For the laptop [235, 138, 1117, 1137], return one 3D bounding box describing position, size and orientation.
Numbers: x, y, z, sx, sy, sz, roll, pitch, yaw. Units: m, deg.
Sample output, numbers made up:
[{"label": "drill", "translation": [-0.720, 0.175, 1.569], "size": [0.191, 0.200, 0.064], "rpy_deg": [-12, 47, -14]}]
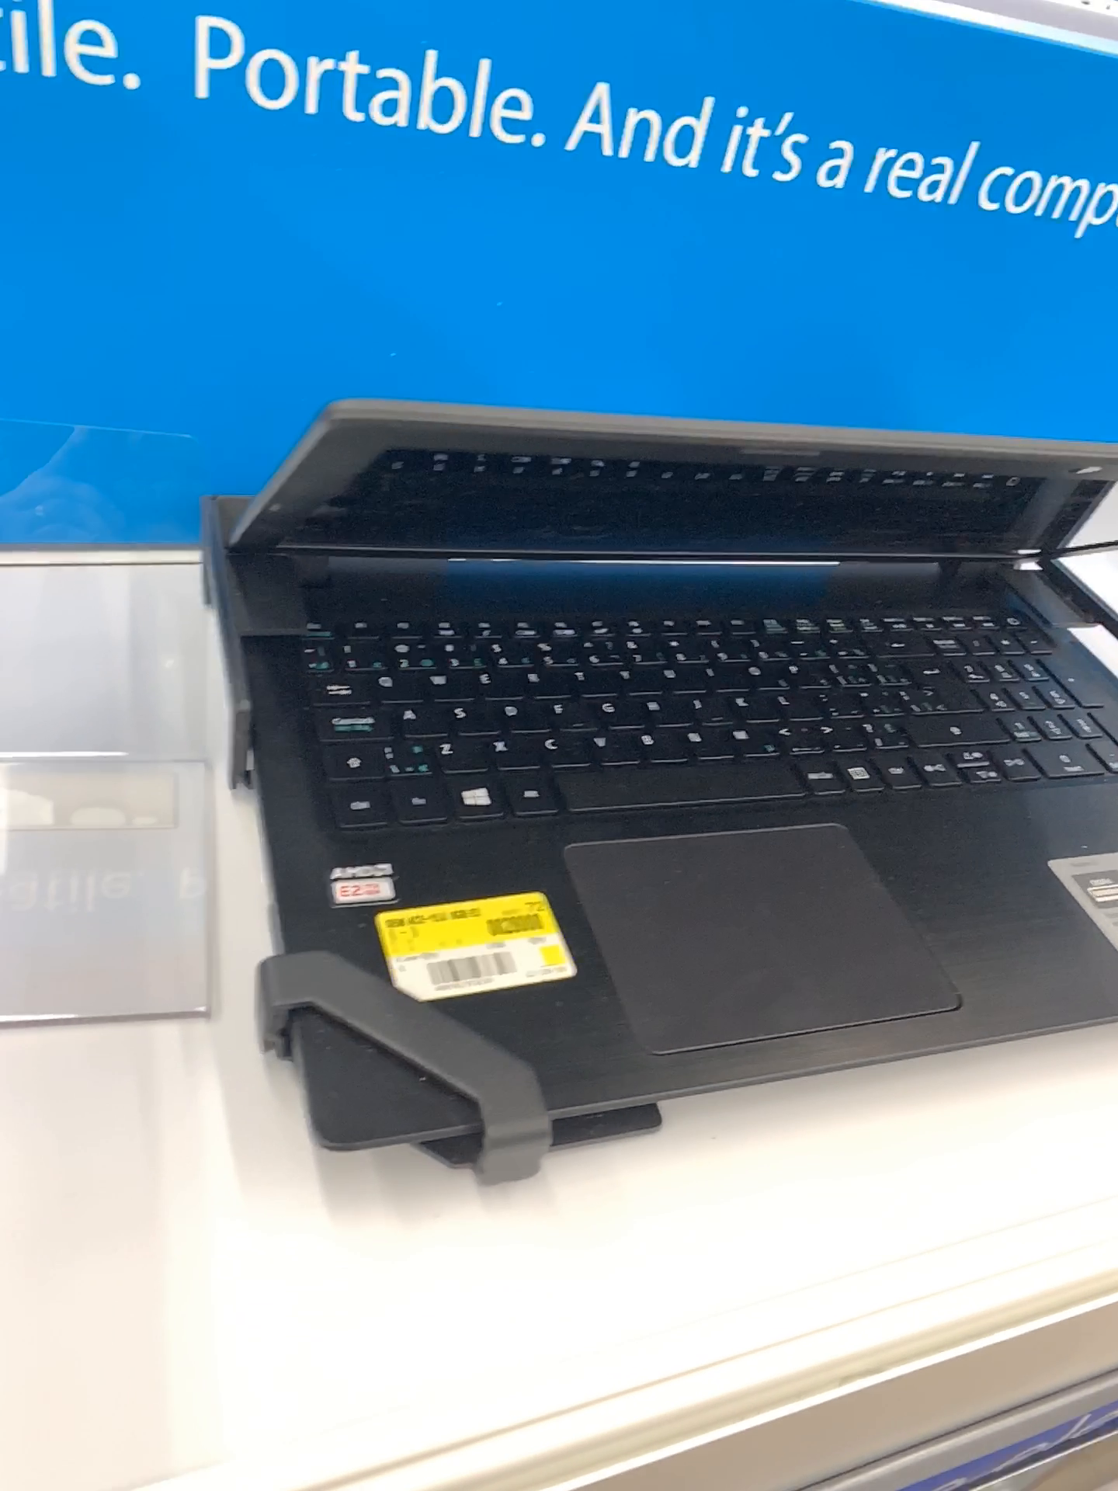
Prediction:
[{"label": "laptop", "translation": [0.098, -0.048, 0.364], "size": [0.364, 0.137, 0.222], "rpy_deg": [-2, 45, -22]}]
